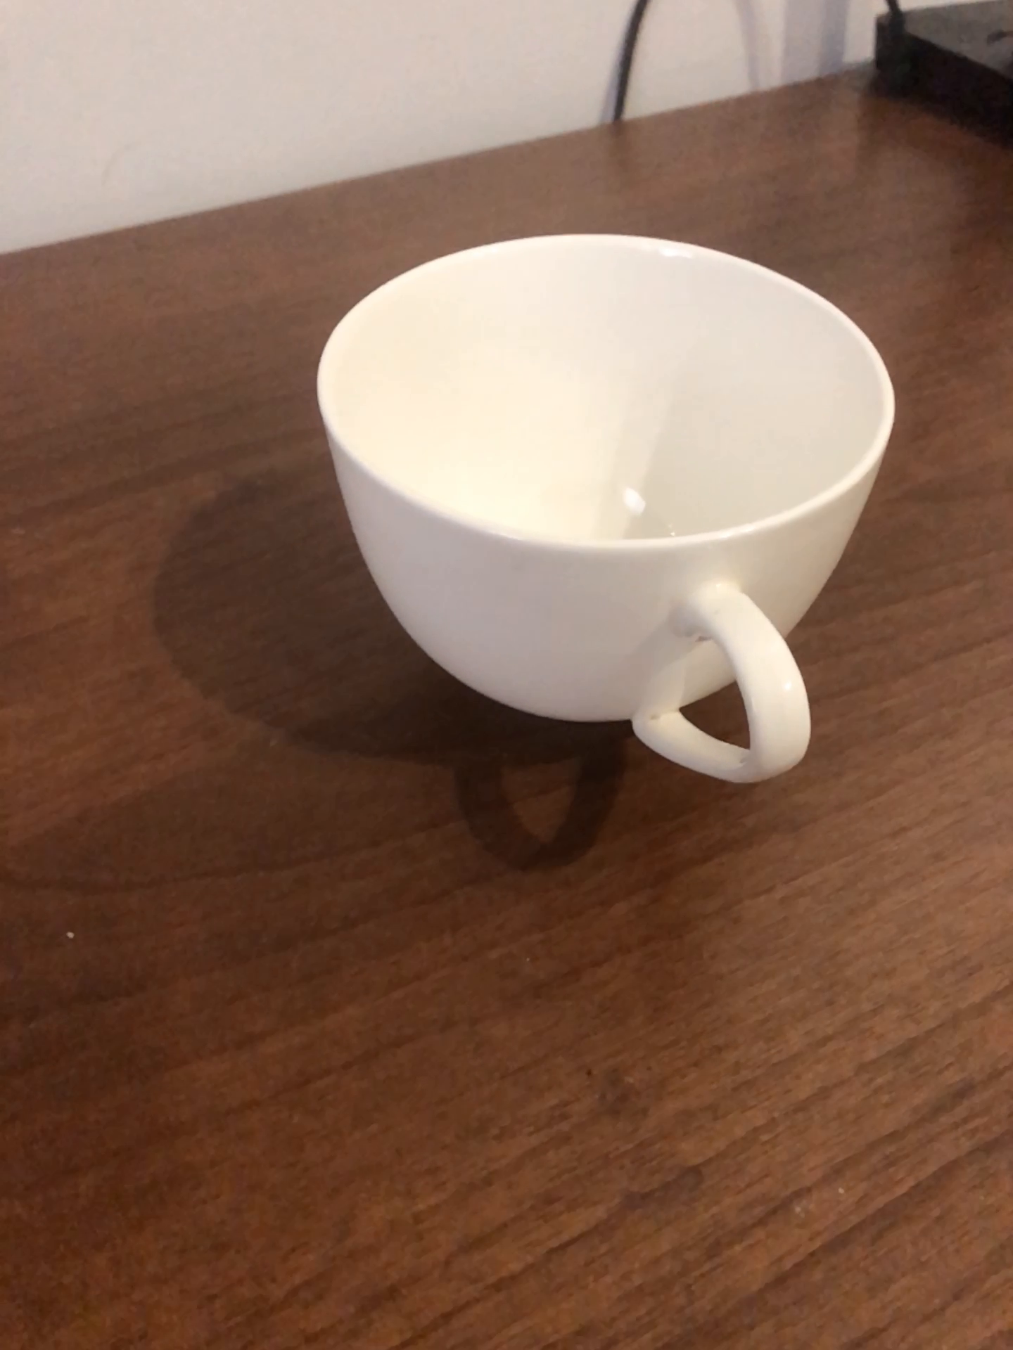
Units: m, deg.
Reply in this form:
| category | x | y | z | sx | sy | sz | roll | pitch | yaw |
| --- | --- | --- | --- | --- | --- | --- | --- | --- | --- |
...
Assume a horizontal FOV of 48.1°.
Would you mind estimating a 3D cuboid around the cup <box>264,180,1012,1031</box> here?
| category | x | y | z | sx | sy | sz | roll | pitch | yaw |
| --- | --- | --- | --- | --- | --- | --- | --- | --- | --- |
| cup | 0.018 | -0.020 | 0.186 | 0.090 | 0.069 | 0.111 | -11 | 46 | -11 |
